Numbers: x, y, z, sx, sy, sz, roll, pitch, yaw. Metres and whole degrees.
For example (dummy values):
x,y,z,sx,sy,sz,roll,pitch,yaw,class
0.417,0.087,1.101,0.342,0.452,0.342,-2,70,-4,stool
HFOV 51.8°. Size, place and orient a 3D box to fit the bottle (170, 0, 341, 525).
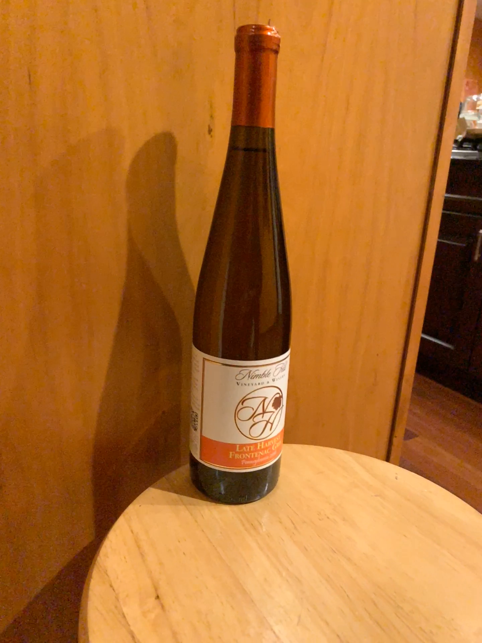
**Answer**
x,y,z,sx,sy,sz,roll,pitch,yaw,class
0.001,-0.026,0.348,0.080,0.329,0.060,-8,21,-32,bottle
